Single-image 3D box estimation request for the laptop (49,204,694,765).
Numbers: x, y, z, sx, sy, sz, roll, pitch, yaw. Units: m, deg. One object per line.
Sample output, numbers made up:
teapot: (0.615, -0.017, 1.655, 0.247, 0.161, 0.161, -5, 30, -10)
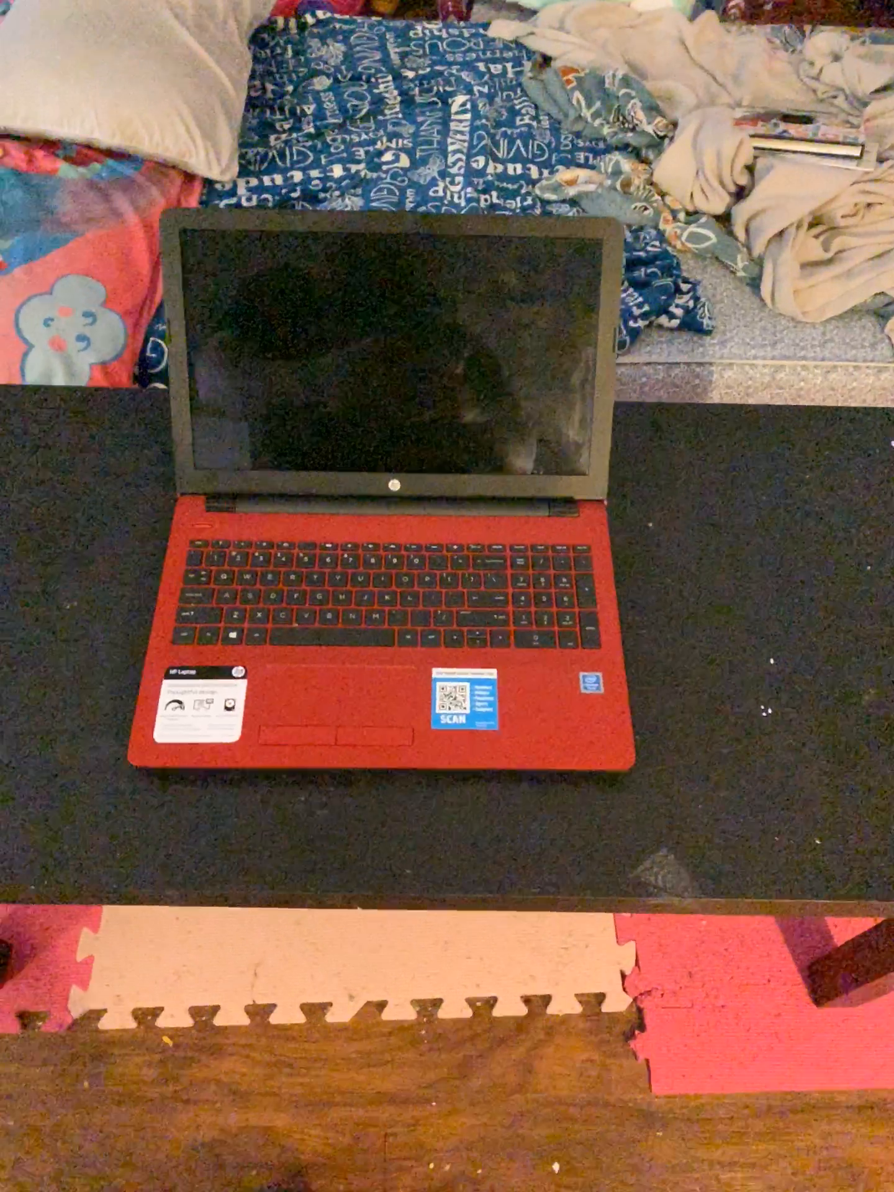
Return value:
laptop: (-0.045, -0.097, 0.713, 0.375, 0.170, 0.411, 0, 58, -2)
